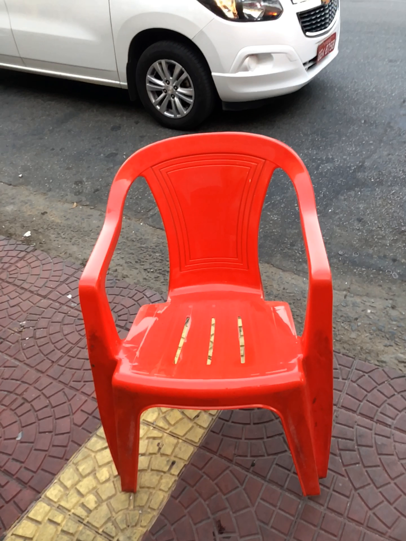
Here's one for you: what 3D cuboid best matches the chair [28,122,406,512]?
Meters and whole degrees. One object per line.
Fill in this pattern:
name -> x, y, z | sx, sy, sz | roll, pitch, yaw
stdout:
chair -> 0.051, 0.125, 1.112 | 0.570, 0.794, 0.544 | 0, 37, 4
